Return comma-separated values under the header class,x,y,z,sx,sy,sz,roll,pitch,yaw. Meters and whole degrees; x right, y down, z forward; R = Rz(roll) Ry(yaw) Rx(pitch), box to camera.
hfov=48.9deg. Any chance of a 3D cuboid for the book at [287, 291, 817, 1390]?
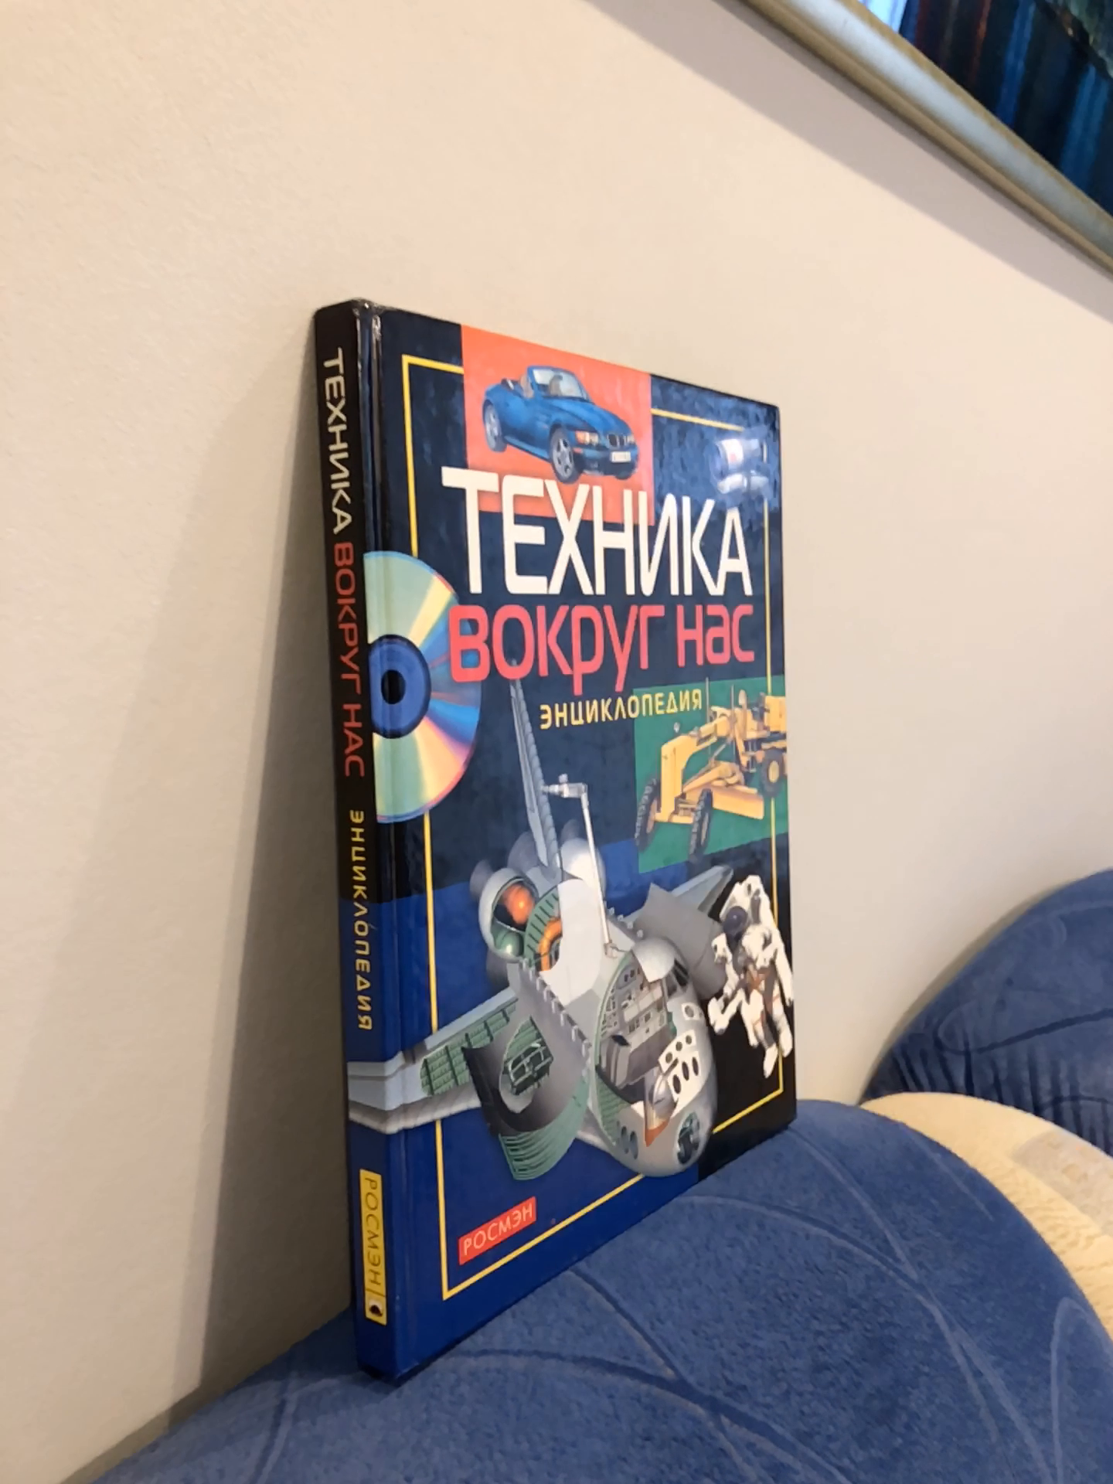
class,x,y,z,sx,sy,sz,roll,pitch,yaw
book,0.017,0.019,0.403,0.030,0.280,0.221,1,6,40
